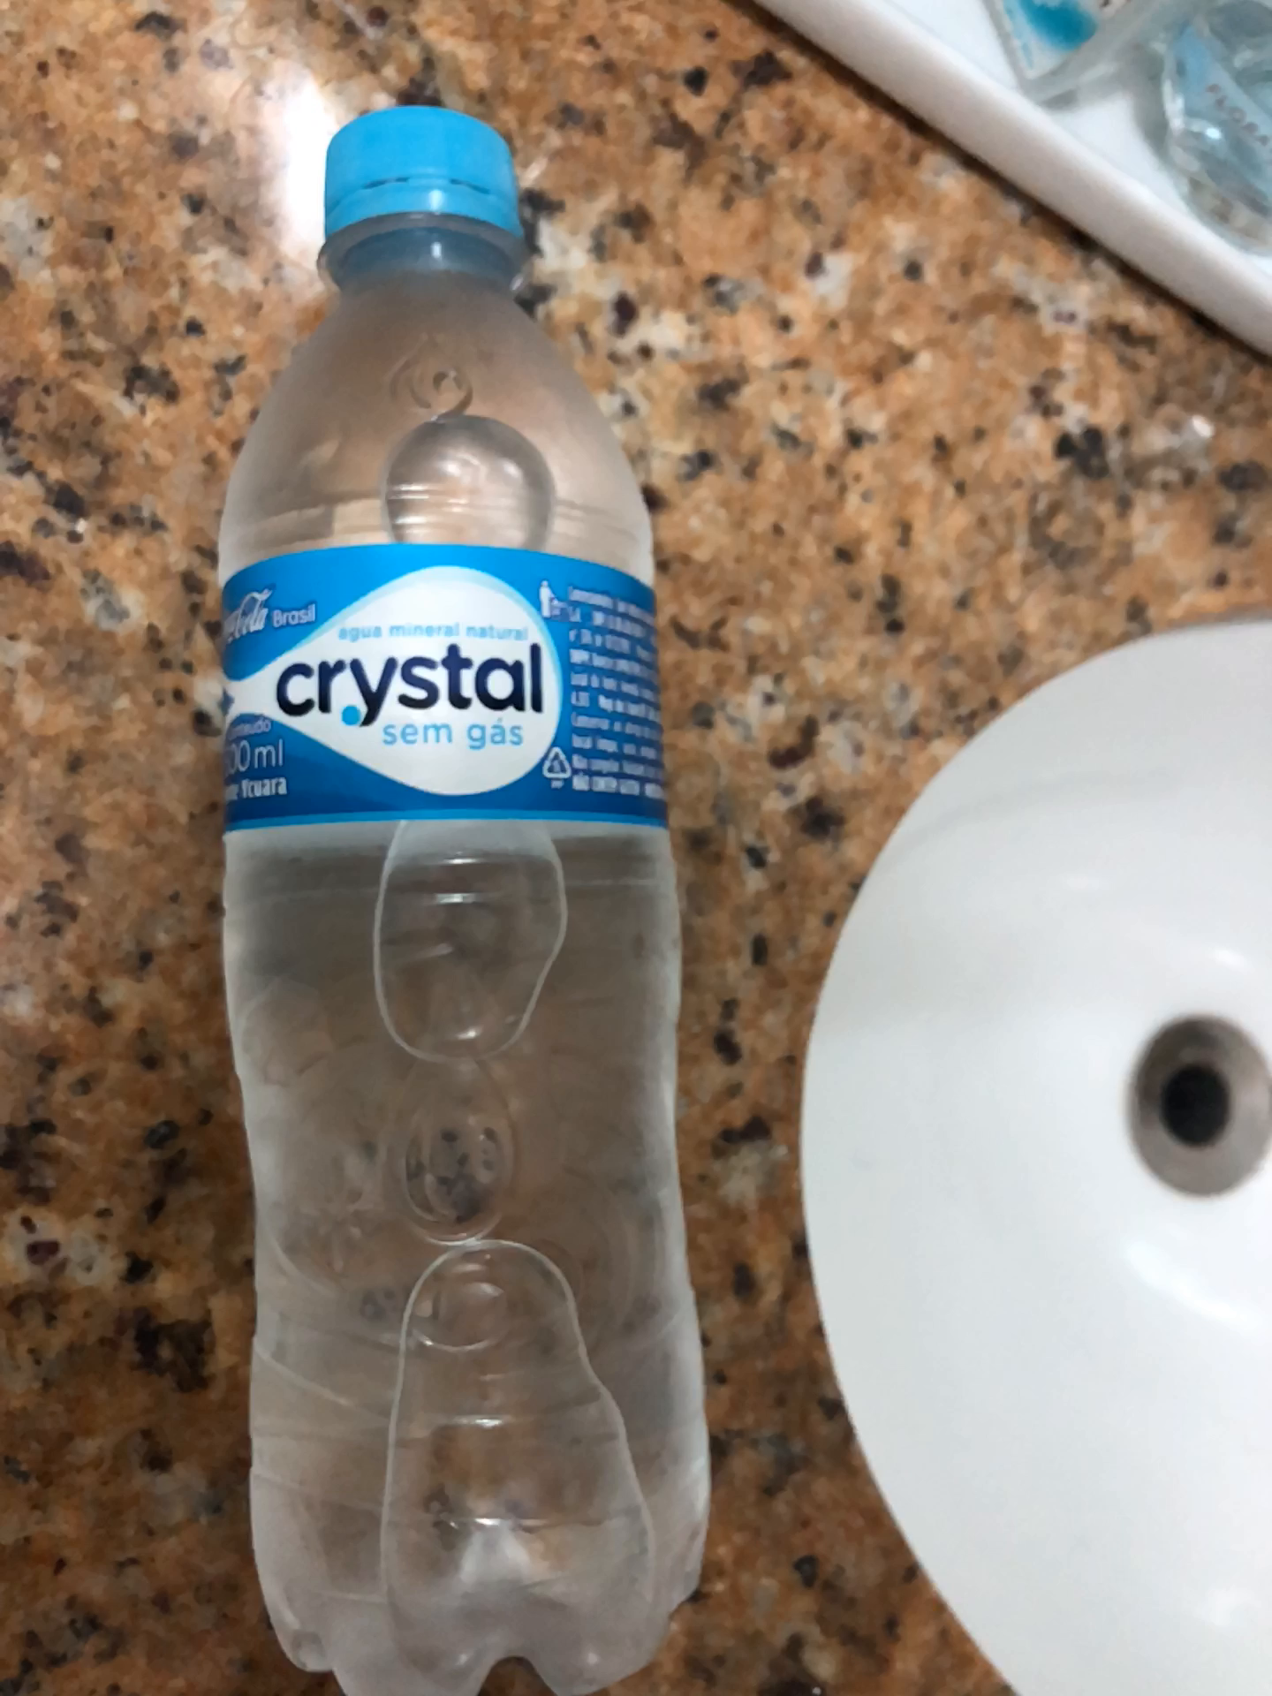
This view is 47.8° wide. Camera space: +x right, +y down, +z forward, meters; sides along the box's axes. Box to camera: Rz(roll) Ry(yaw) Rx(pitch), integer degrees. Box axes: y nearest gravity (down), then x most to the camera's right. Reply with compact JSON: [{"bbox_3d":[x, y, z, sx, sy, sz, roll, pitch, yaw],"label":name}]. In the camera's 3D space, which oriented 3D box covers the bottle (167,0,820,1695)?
[{"bbox_3d":[-0.025,-0.002,0.203,0.070,0.050,0.230,-2,86,-18],"label":"bottle"}]
